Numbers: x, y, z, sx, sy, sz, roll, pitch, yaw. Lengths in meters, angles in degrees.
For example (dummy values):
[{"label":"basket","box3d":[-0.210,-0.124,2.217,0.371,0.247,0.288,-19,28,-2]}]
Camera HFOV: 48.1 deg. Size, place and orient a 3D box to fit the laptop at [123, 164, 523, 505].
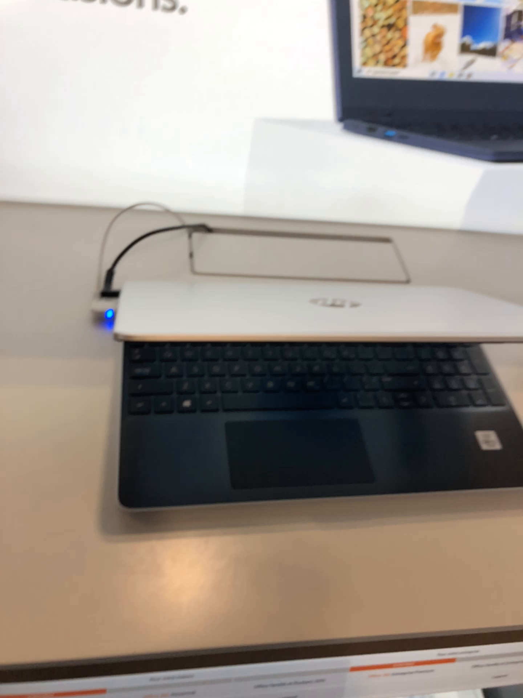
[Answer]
[{"label":"laptop","box3d":[0.065,-0.020,0.479,0.345,0.131,0.230,0,47,-12]}]
